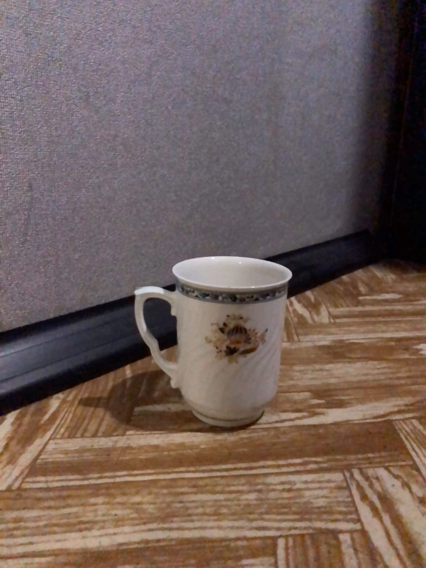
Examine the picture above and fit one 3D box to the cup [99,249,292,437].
[{"bbox_3d":[-0.007,0.035,0.333,0.118,0.099,0.077,4,17,9],"label":"cup"}]
